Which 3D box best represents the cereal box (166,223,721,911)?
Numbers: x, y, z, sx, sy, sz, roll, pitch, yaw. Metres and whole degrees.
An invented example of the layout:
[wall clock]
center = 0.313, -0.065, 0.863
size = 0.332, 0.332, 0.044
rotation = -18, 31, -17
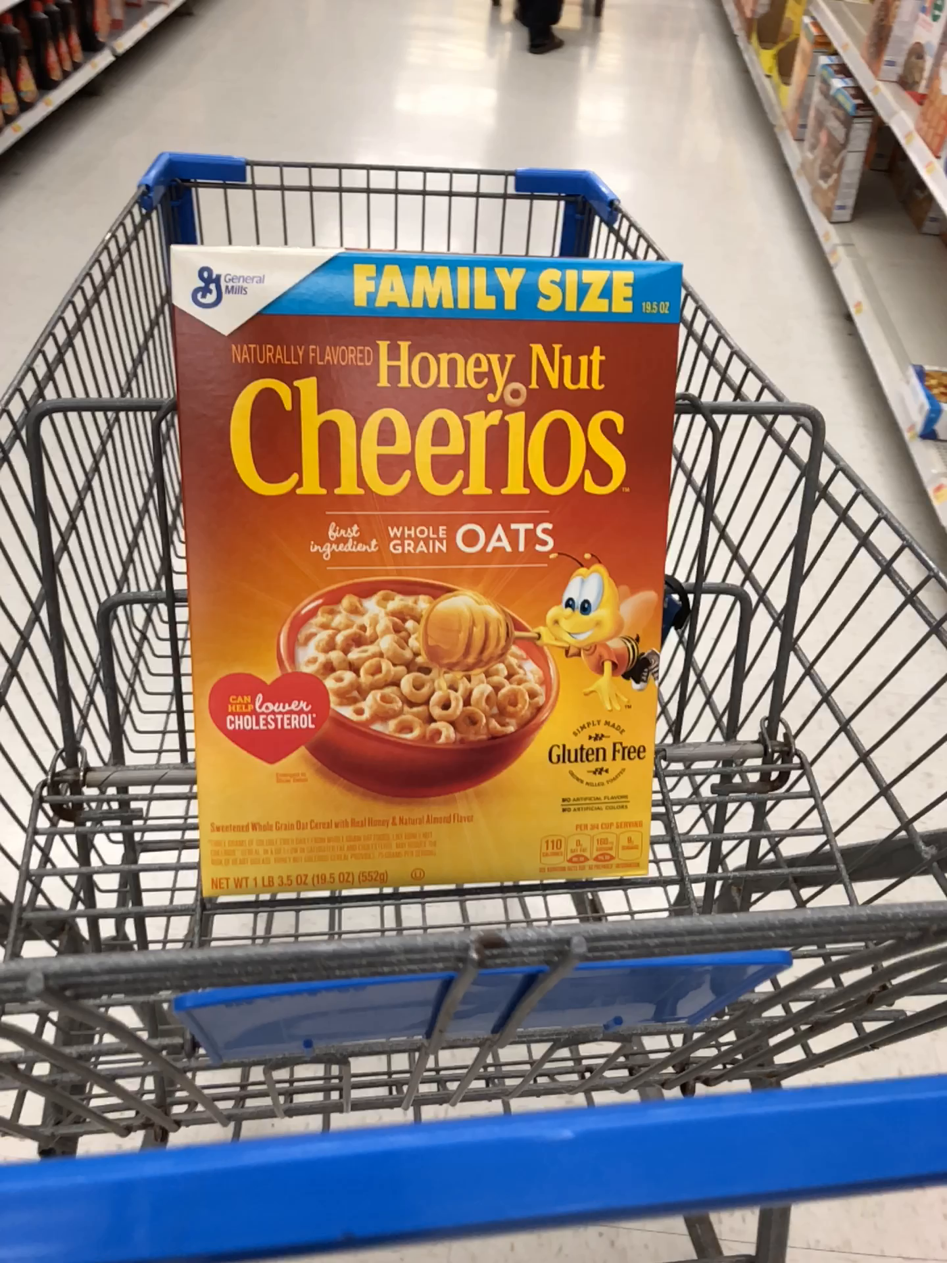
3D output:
[cereal box]
center = -0.016, -0.028, 0.541
size = 0.250, 0.330, 0.070
rotation = -1, 14, -7
